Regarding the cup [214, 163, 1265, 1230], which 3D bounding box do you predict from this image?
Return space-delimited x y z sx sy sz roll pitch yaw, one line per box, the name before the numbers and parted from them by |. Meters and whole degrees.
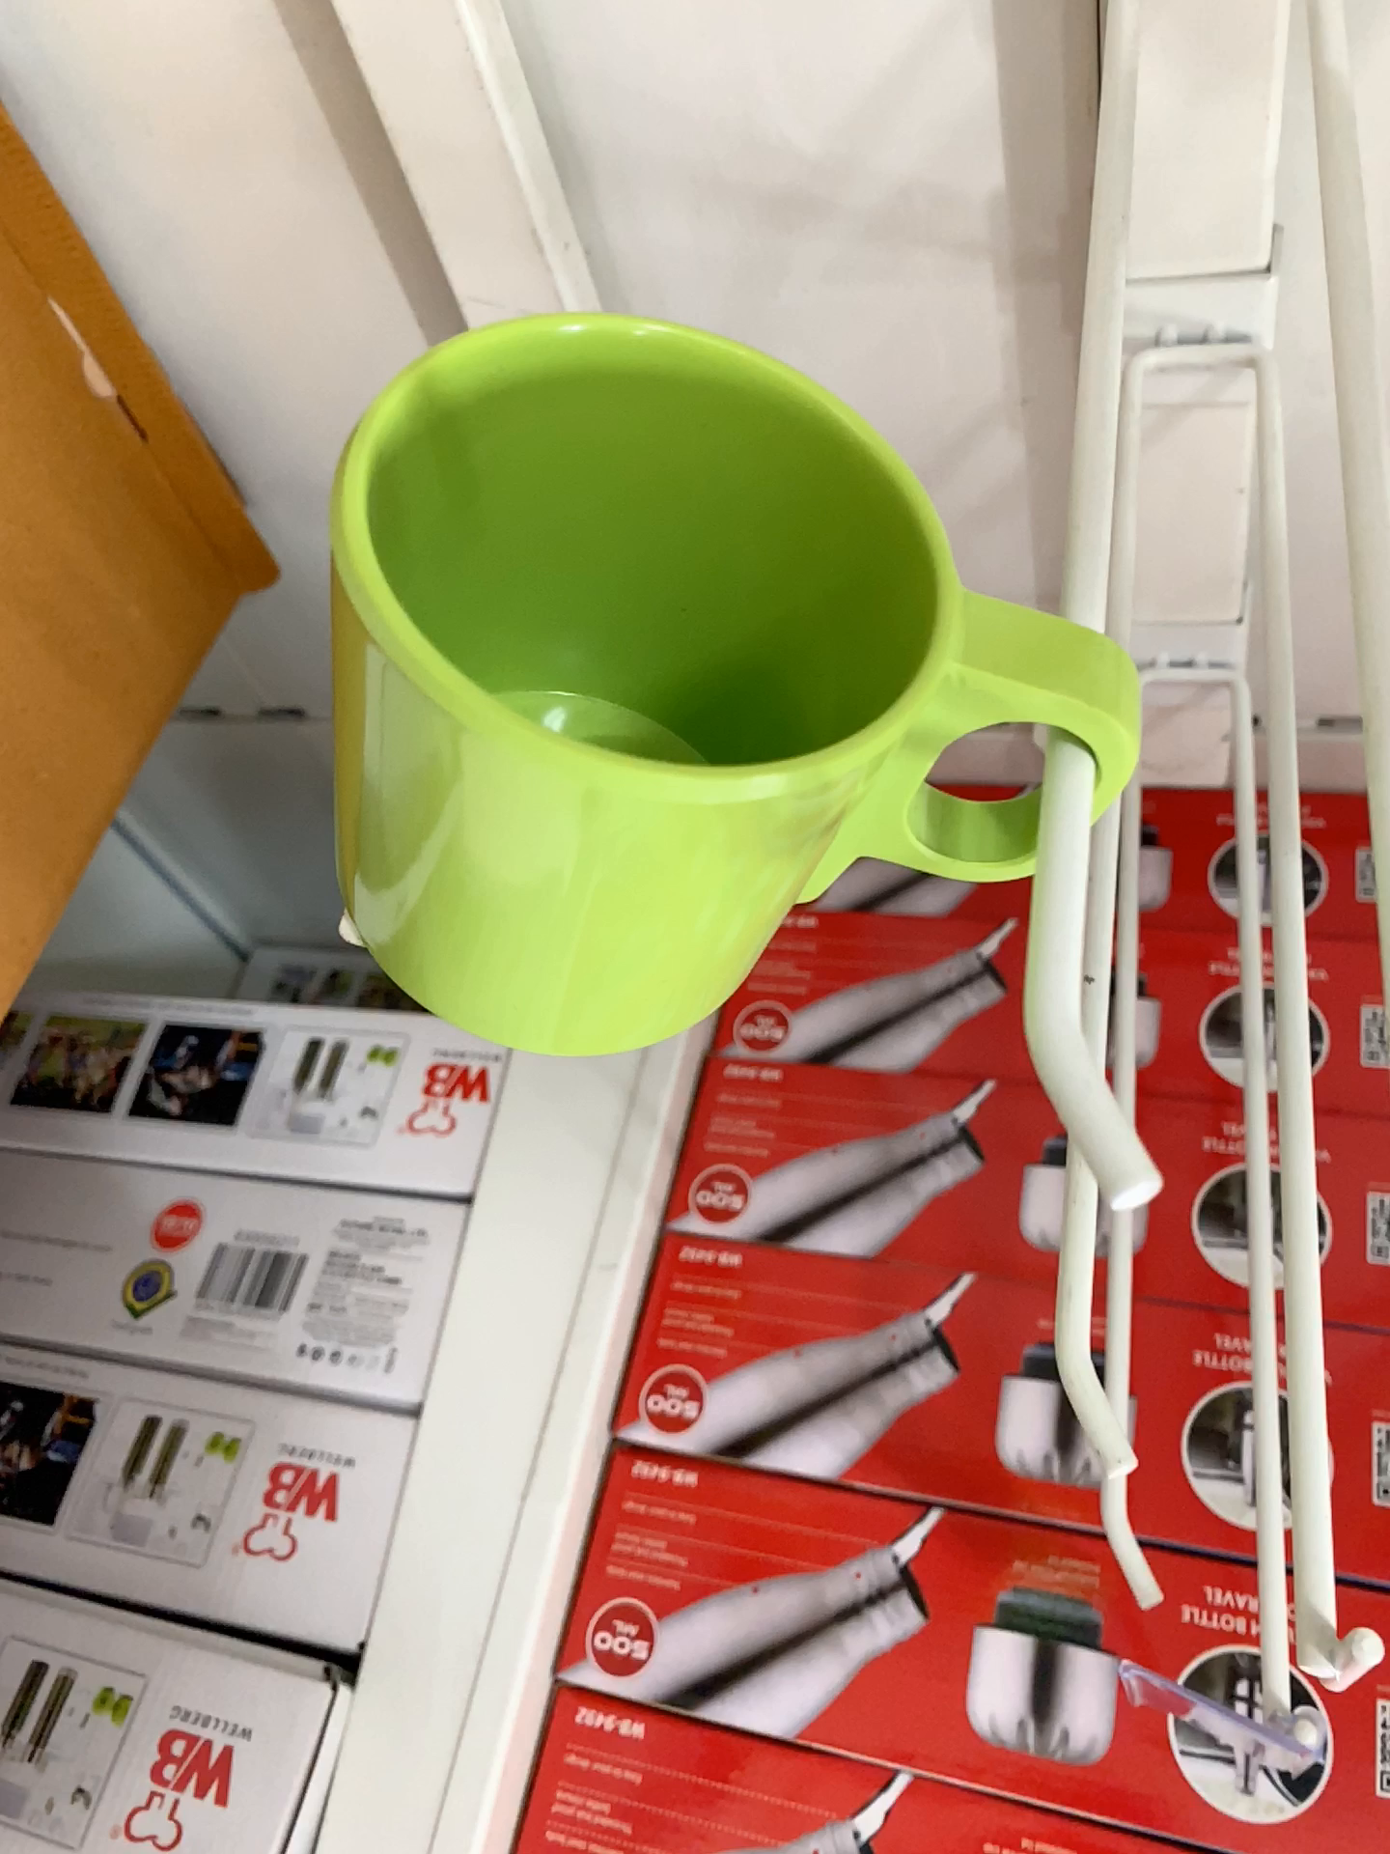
cup | 0.005 -0.026 0.206 0.080 0.110 0.100 115 -15 -59
